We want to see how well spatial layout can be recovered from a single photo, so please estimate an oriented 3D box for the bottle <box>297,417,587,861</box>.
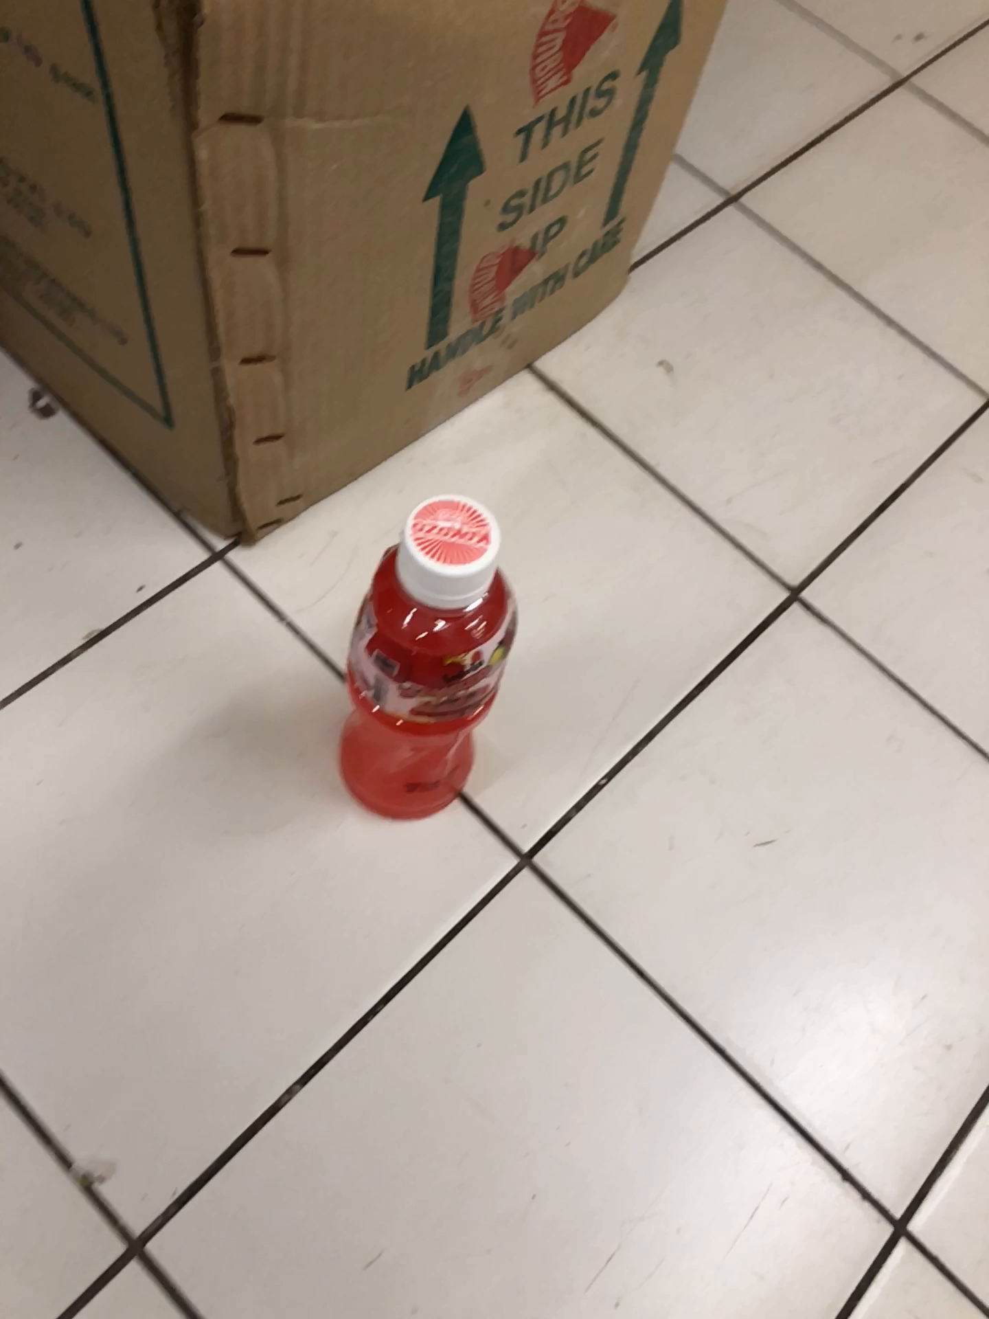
[{"bbox_3d":[-0.029,0.005,0.401,0.060,0.189,0.060,4,63,-8],"label":"bottle"}]
